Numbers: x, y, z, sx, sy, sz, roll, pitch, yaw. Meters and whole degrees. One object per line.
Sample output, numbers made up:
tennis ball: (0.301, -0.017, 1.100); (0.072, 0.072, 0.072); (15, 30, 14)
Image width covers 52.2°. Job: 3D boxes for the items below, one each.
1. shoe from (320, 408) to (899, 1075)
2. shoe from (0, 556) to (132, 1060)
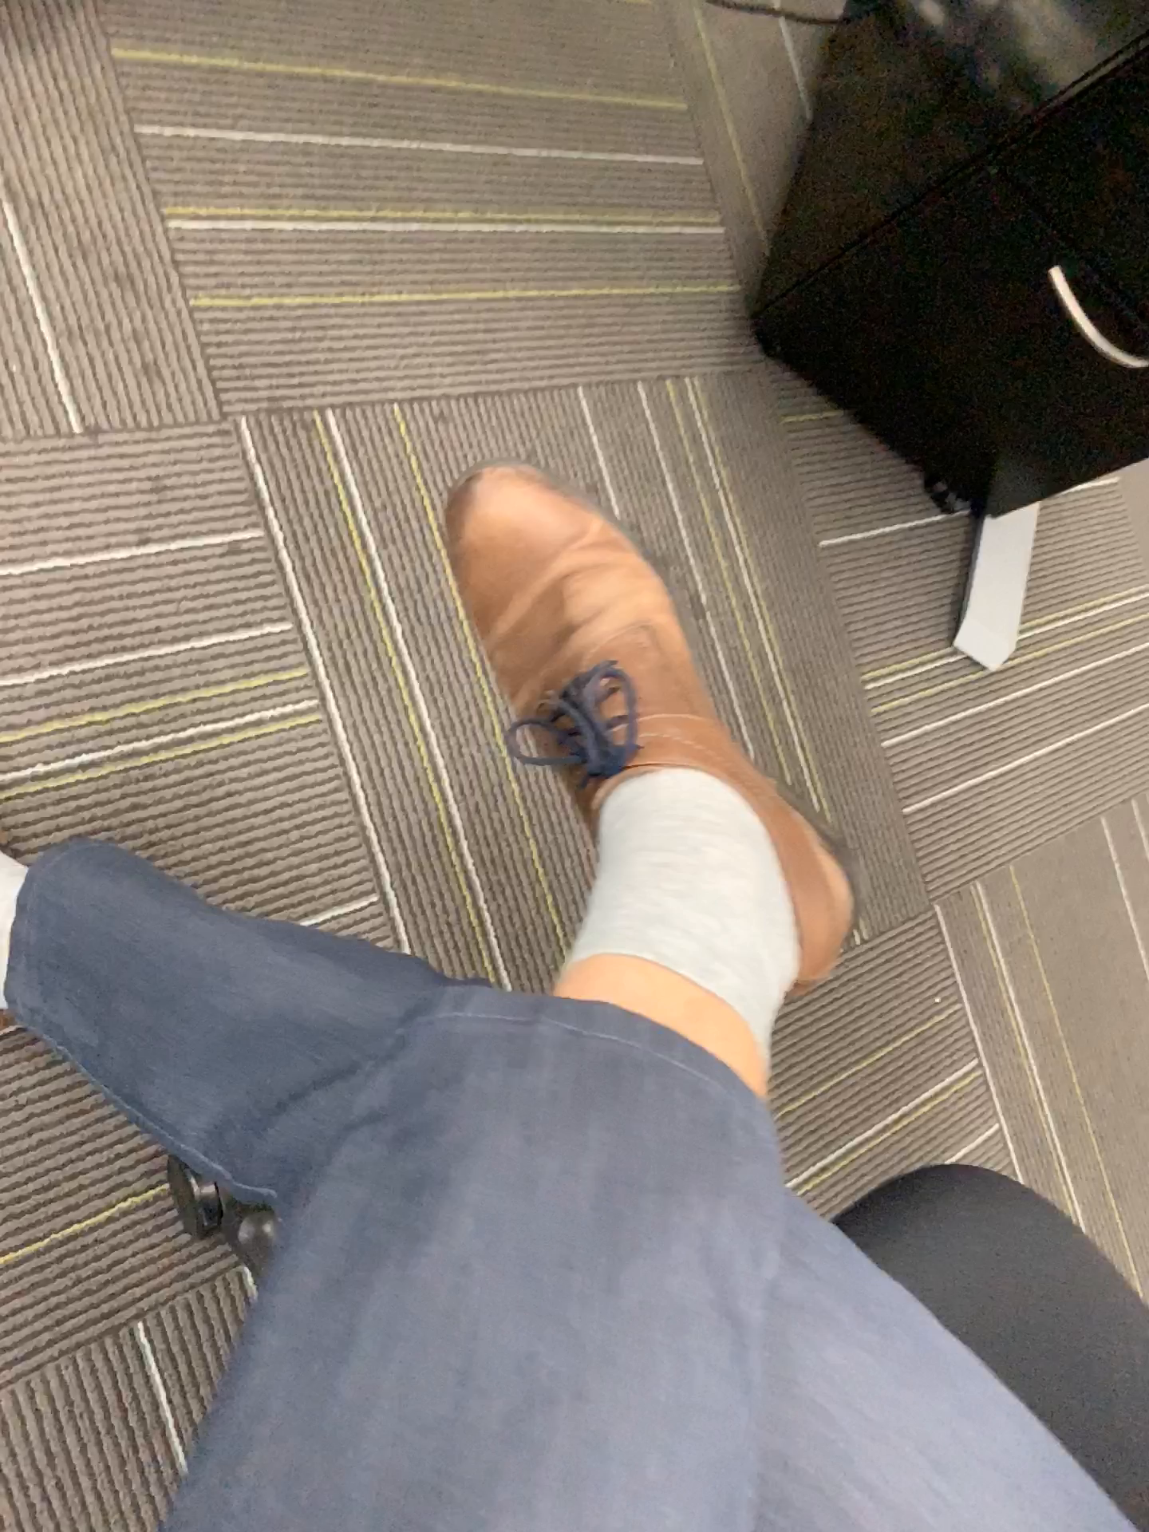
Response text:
shoe: (0.023, -0.010, 0.564); (0.294, 0.114, 0.082); (55, 28, -6)
shoe: (-0.399, 0.027, 0.711); (0.112, 0.068, 0.276); (-34, 100, -33)
